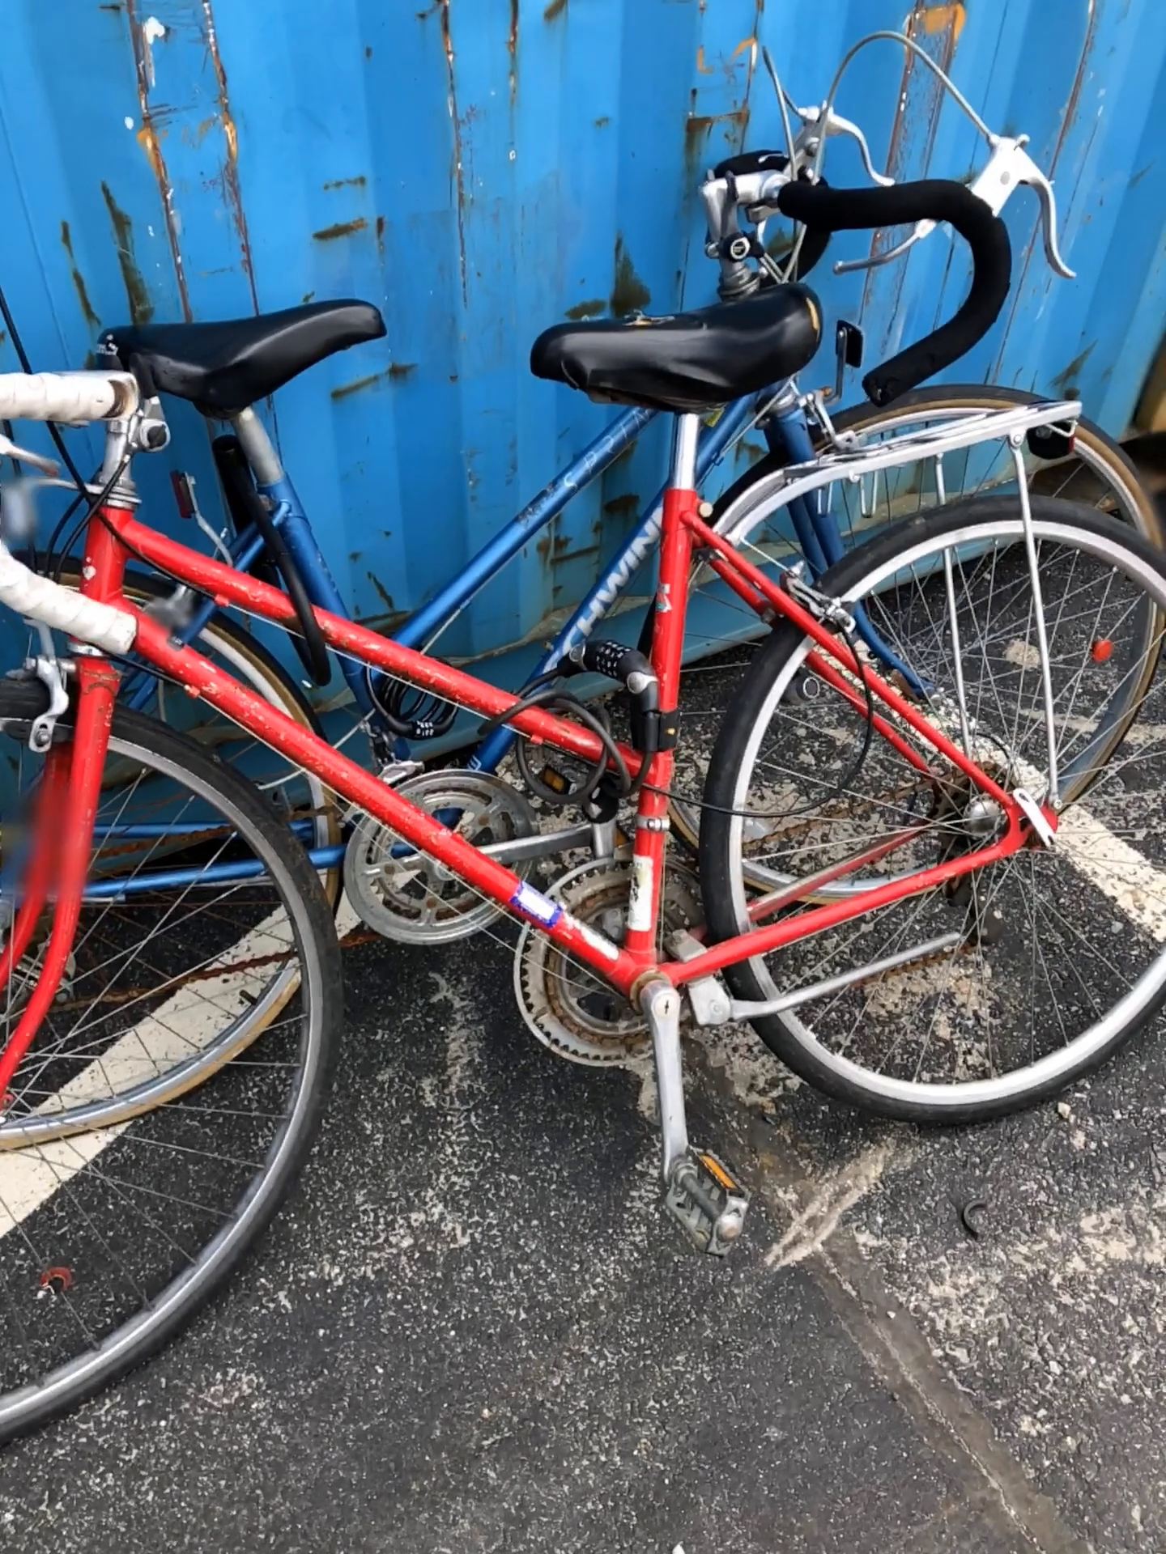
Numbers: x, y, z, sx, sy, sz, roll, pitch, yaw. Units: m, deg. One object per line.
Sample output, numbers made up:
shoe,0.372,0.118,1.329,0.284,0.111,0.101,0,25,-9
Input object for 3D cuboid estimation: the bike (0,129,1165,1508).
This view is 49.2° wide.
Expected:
bike,-0.076,-0.058,1.199,1.642,0.824,0.485,-16,46,-21
